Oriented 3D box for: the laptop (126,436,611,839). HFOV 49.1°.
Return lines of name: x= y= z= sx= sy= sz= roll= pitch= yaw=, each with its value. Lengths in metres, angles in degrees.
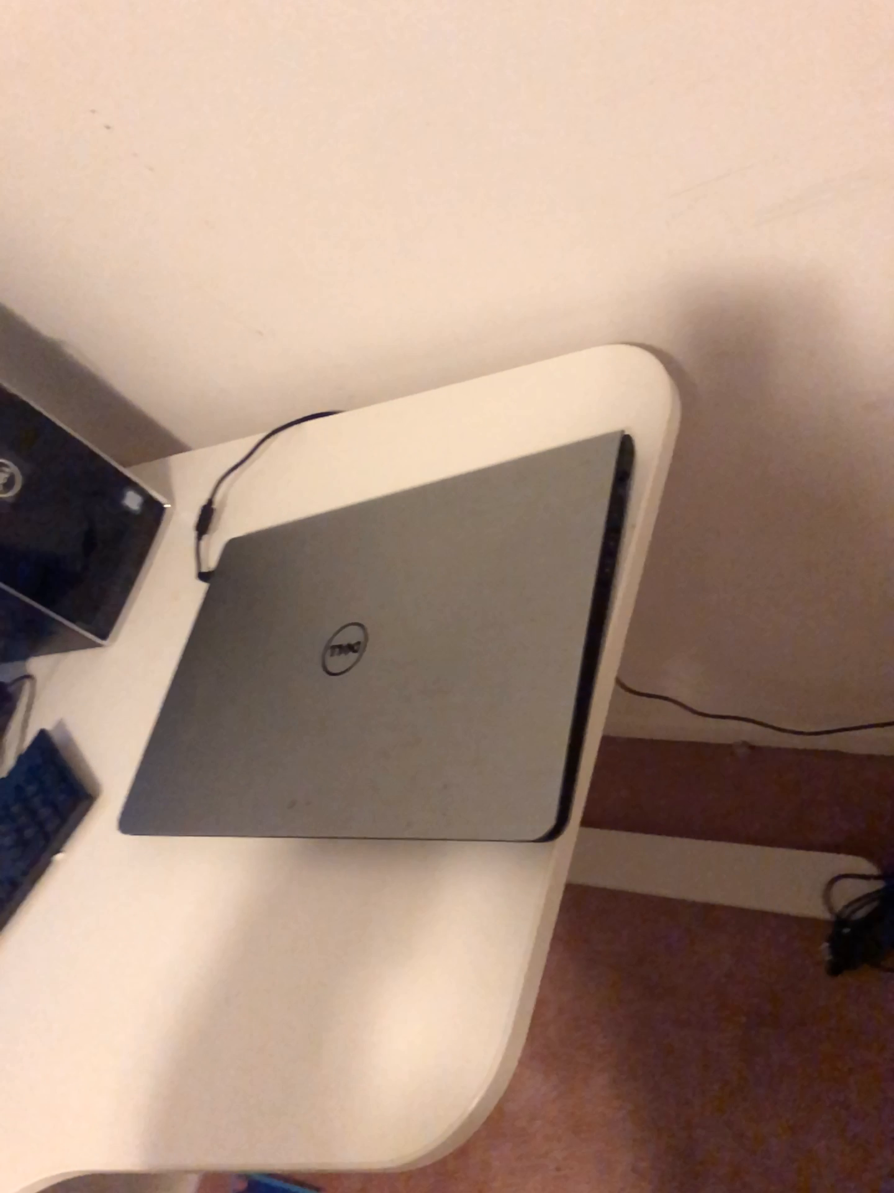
laptop: x=-0.068 y=0.035 z=0.650 sx=0.372 sy=0.001 sz=0.247 roll=-10 pitch=54 yaw=40
